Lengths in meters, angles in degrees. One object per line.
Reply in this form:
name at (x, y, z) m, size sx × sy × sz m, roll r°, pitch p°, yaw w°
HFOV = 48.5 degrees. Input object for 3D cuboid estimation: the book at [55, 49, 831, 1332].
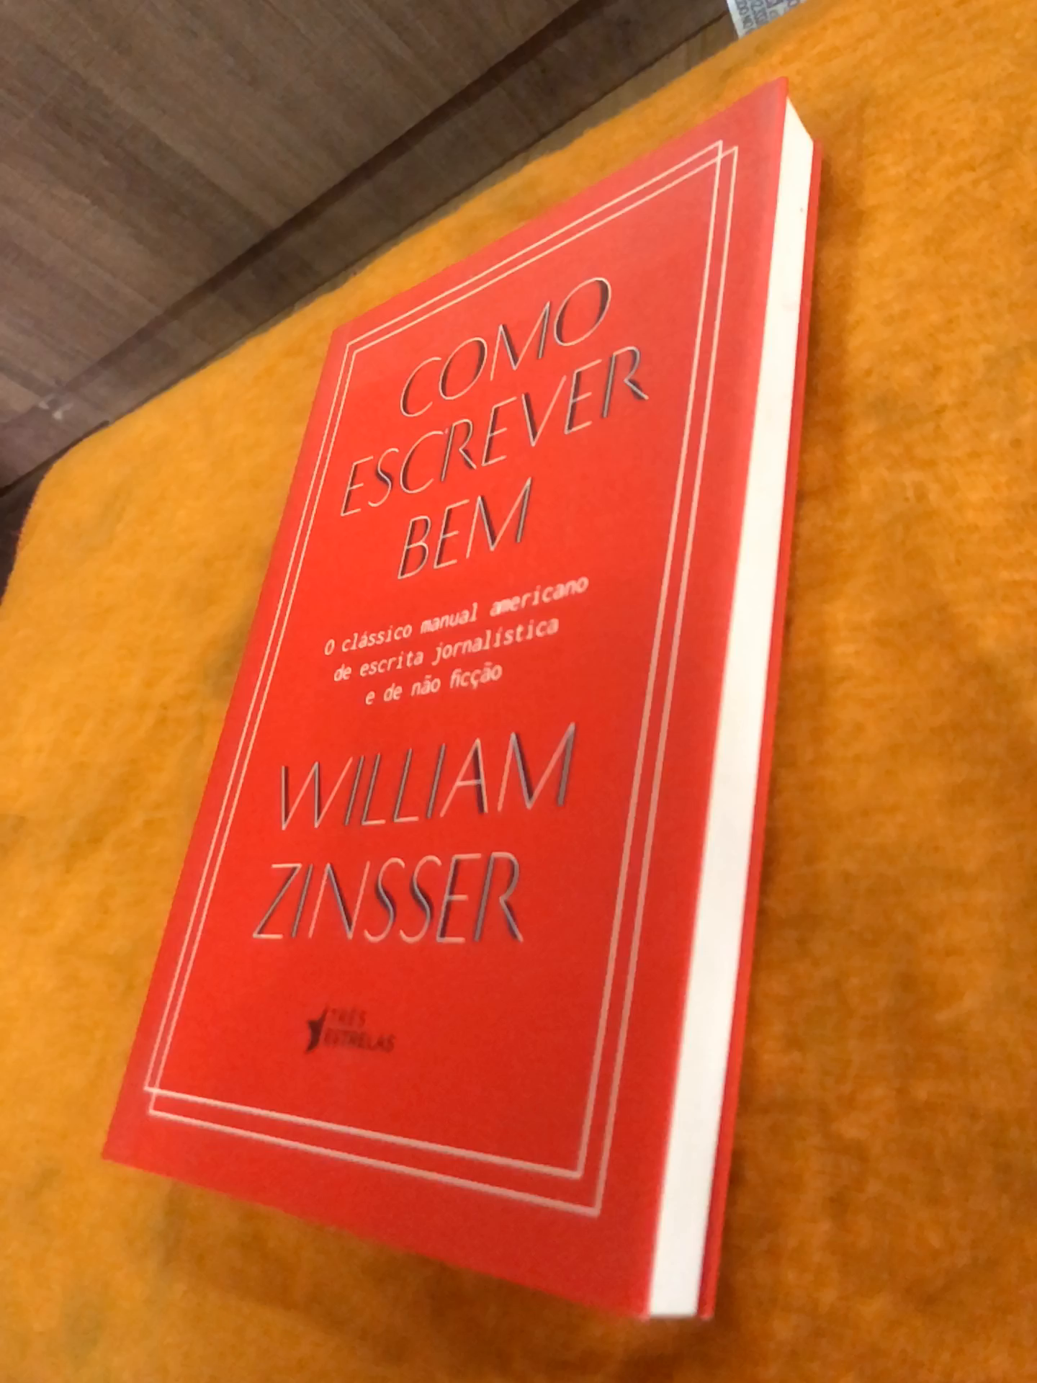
book at (-0.017, -0.007, 0.216) m, size 0.141 × 0.020 × 0.196 m, roll -11°, pitch 61°, yaw 44°
